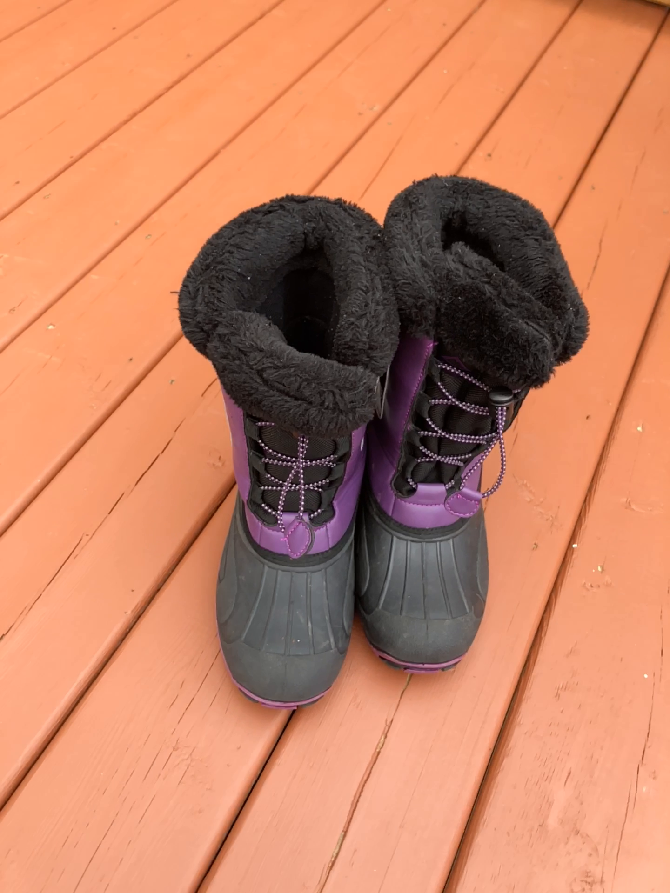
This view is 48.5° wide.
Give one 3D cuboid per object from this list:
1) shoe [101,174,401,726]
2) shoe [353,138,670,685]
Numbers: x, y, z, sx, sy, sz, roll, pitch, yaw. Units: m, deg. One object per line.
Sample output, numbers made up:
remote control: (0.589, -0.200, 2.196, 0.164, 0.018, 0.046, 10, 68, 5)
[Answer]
shoe: (-0.036, 0.017, 0.497, 0.120, 0.279, 0.241, 5, 53, 1)
shoe: (0.081, -0.008, 0.500, 0.120, 0.279, 0.241, 2, 54, -2)
